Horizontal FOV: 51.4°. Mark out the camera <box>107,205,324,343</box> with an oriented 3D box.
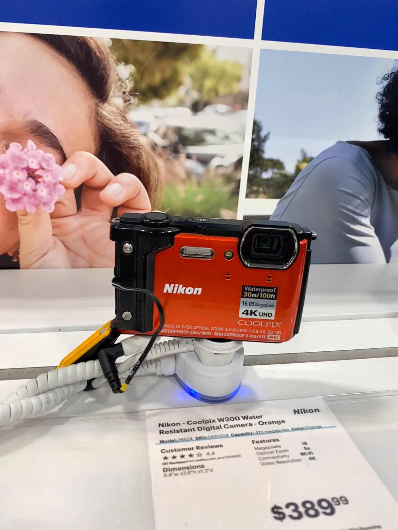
[{"bbox_3d":[0.006,0.005,0.220,0.105,0.063,0.025,3,19,-4],"label":"camera"}]
